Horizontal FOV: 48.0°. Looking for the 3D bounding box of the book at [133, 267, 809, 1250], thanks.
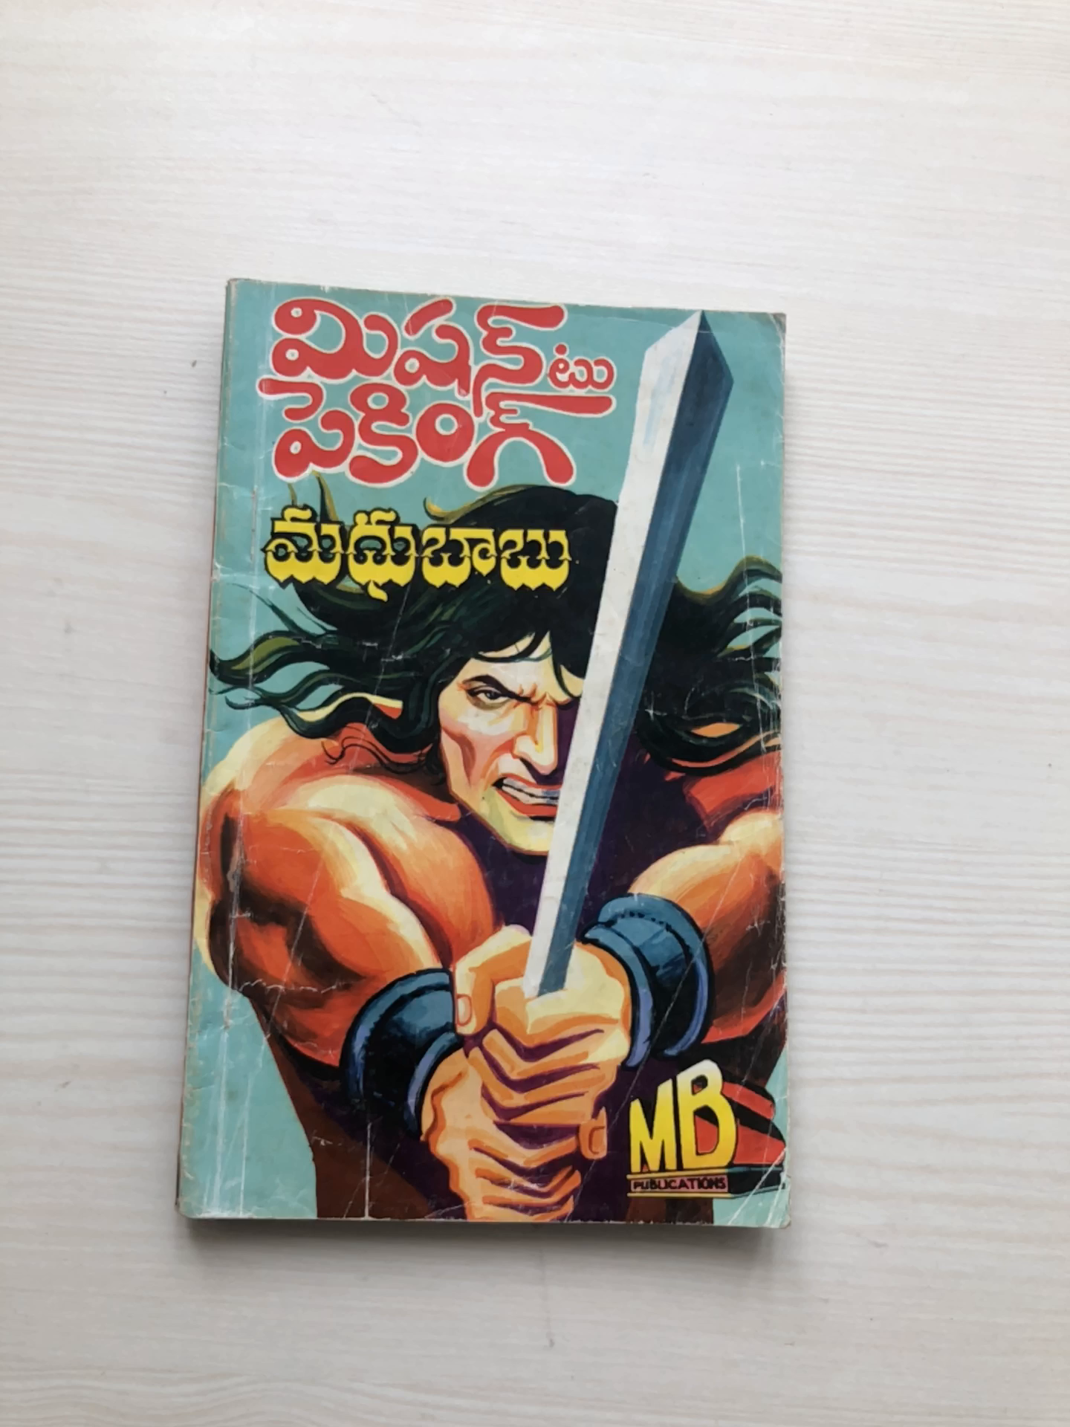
[{"bbox_3d":[-0.008,0.006,0.202,0.100,0.030,0.150,2,83,-4],"label":"book"}]
